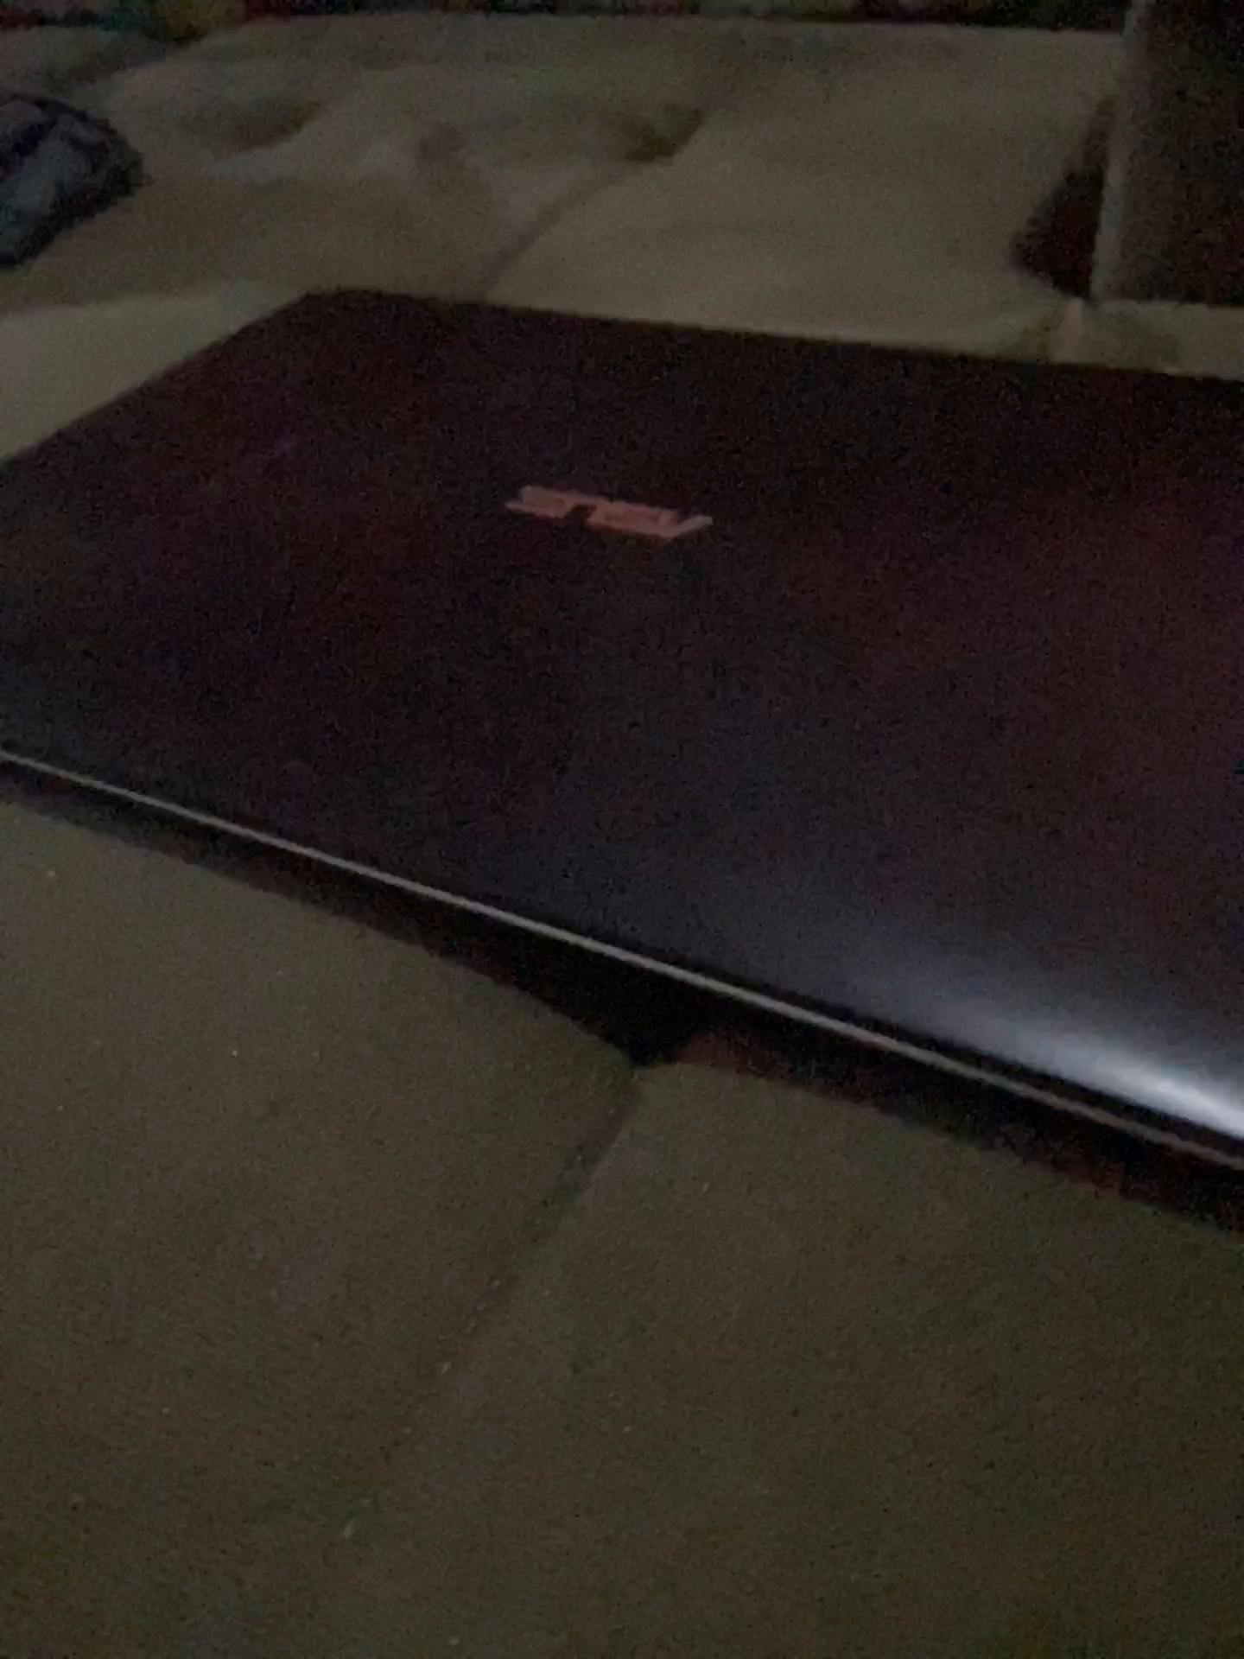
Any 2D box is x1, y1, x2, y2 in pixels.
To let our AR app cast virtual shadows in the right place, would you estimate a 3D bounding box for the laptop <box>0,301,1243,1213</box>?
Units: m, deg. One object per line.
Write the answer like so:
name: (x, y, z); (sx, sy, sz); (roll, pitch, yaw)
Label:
laptop: (-0.017, -0.071, 0.322); (0.370, 0.004, 0.235); (16, 46, 24)
